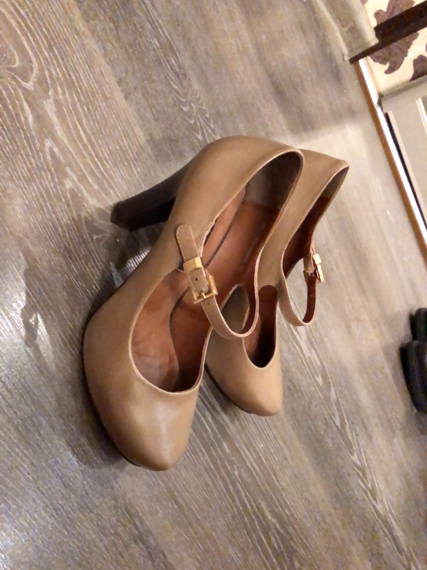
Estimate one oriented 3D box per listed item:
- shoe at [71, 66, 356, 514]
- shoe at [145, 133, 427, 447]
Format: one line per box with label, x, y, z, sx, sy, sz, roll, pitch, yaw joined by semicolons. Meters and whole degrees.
shoe;-0.010;0.010;0.308;0.090;0.149;0.220;11;71;-47
shoe;0.060;0.009;0.387;0.091;0.159;0.210;-23;97;-50
